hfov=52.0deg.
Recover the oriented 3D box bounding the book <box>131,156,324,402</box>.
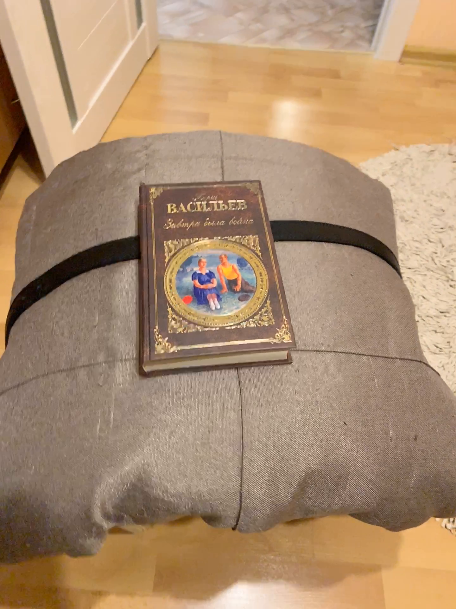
[{"bbox_3d":[-0.012,-0.034,0.421,0.140,0.050,0.221,-4,60,-6],"label":"book"}]
